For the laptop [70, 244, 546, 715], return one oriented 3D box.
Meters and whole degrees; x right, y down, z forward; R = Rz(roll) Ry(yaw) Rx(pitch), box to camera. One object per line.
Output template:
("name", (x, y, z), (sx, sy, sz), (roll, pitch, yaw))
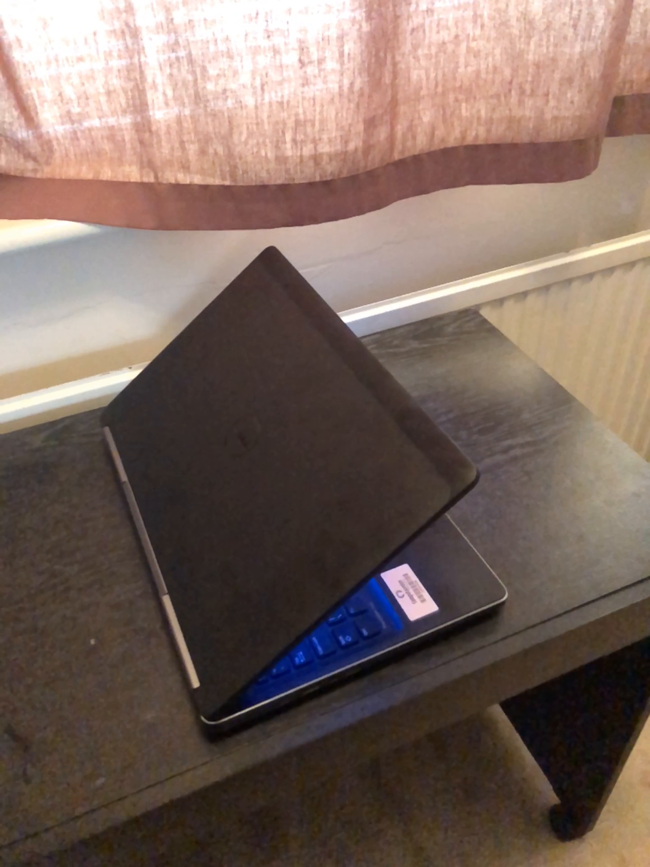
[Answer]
("laptop", (-0.043, 0.001, 0.599), (0.243, 0.134, 0.364), (-17, 43, -15))
